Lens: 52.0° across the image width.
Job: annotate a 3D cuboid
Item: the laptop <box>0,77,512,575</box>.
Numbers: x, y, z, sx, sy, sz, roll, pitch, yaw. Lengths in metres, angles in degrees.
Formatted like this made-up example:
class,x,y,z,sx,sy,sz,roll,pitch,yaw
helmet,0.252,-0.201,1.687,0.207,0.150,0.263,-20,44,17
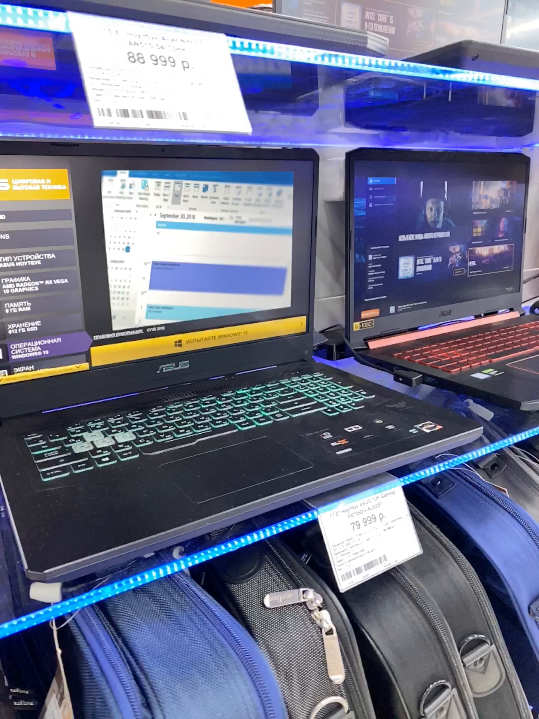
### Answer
class,x,y,z,sx,sy,sz,roll,pitch,yaw
laptop,-0.040,-0.062,0.498,0.397,0.265,0.270,-10,18,-30
